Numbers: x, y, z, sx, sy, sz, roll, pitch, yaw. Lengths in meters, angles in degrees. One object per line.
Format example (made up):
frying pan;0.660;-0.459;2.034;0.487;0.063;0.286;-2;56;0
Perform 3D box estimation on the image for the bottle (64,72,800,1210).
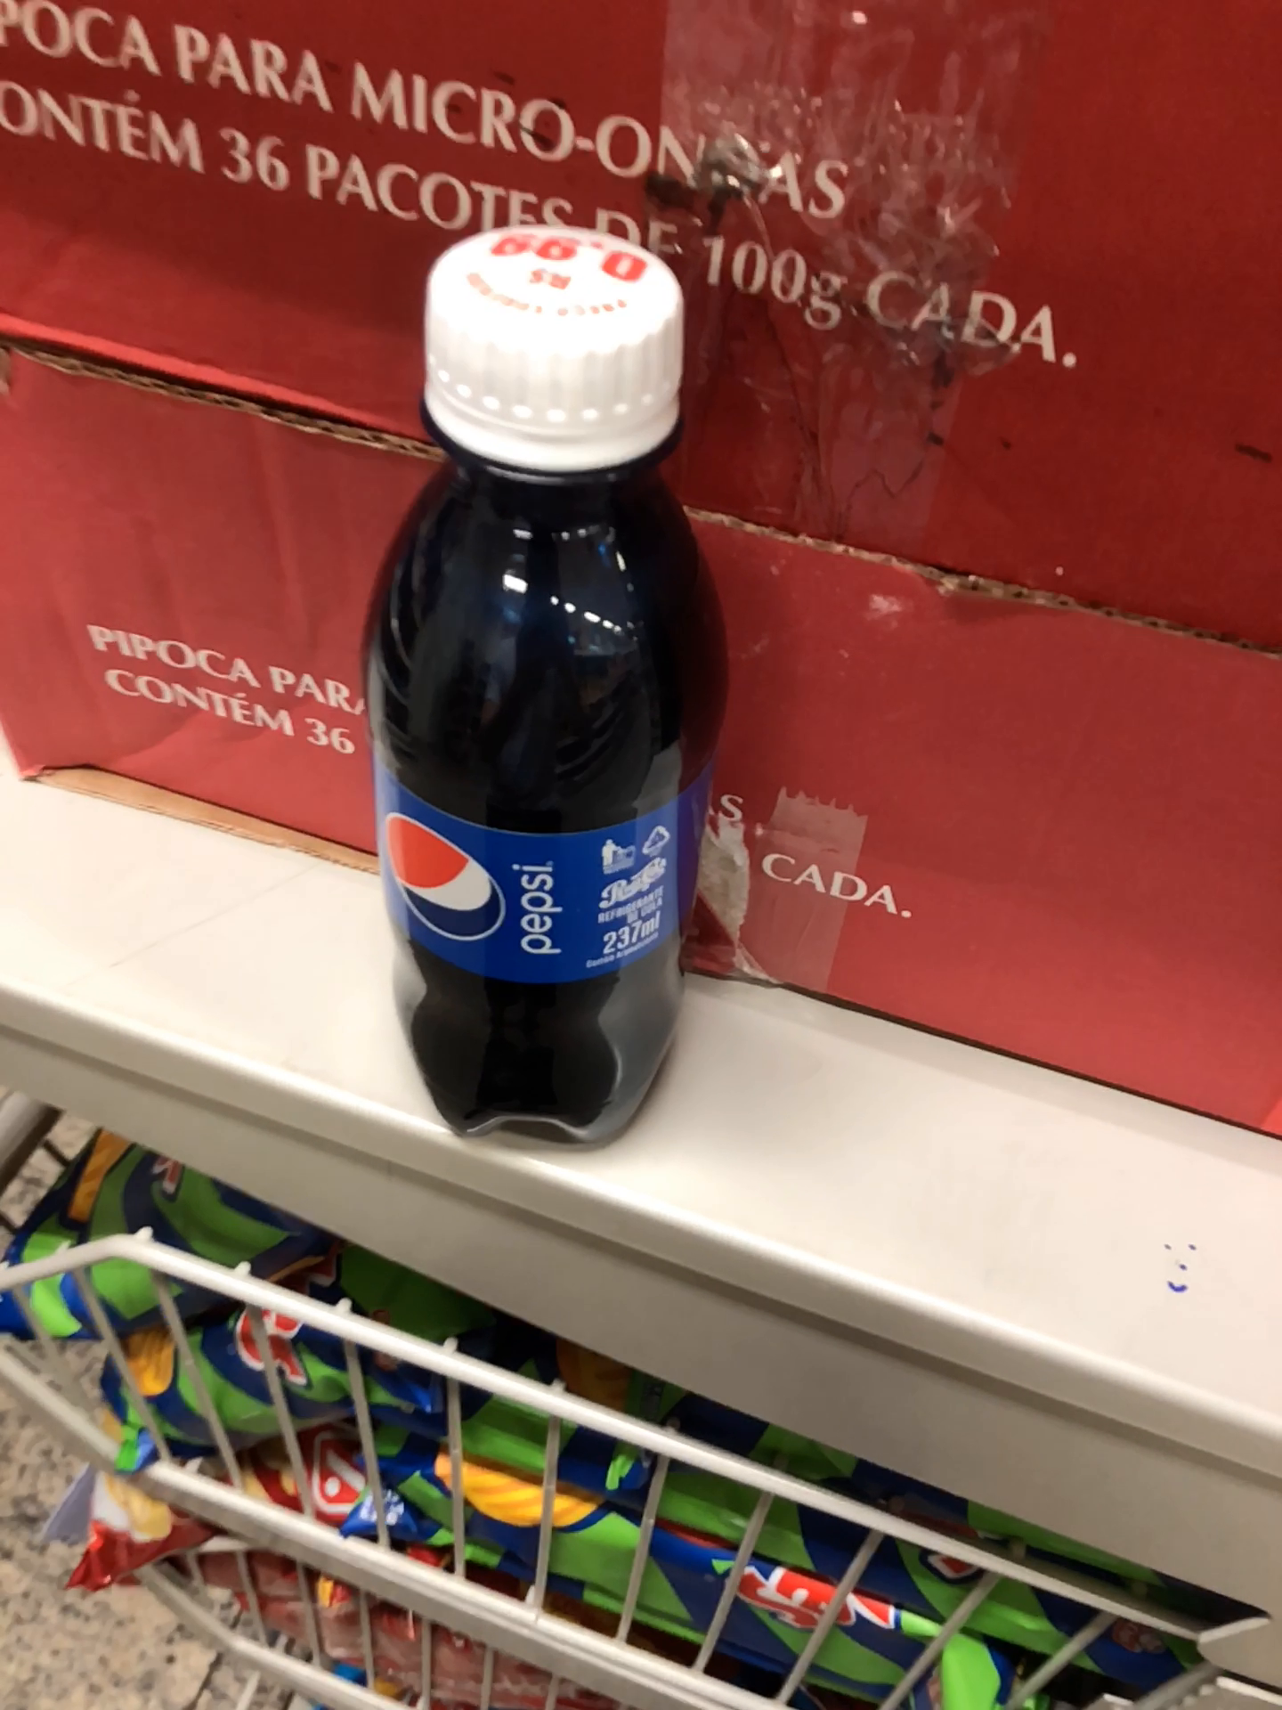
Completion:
bottle;-0.020;-0.020;0.209;0.060;0.149;0.060;1;47;-1
